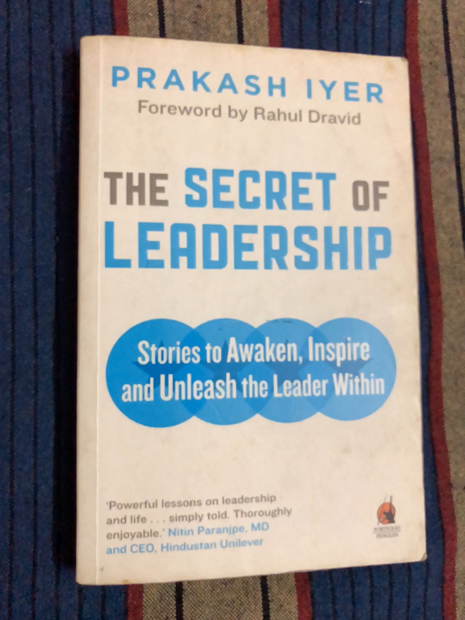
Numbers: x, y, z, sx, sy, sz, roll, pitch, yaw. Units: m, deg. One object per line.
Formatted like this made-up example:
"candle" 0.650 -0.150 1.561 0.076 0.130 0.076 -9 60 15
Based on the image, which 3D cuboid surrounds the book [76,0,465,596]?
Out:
"book" 0.019 -0.009 0.191 0.140 0.030 0.190 0 85 -10
